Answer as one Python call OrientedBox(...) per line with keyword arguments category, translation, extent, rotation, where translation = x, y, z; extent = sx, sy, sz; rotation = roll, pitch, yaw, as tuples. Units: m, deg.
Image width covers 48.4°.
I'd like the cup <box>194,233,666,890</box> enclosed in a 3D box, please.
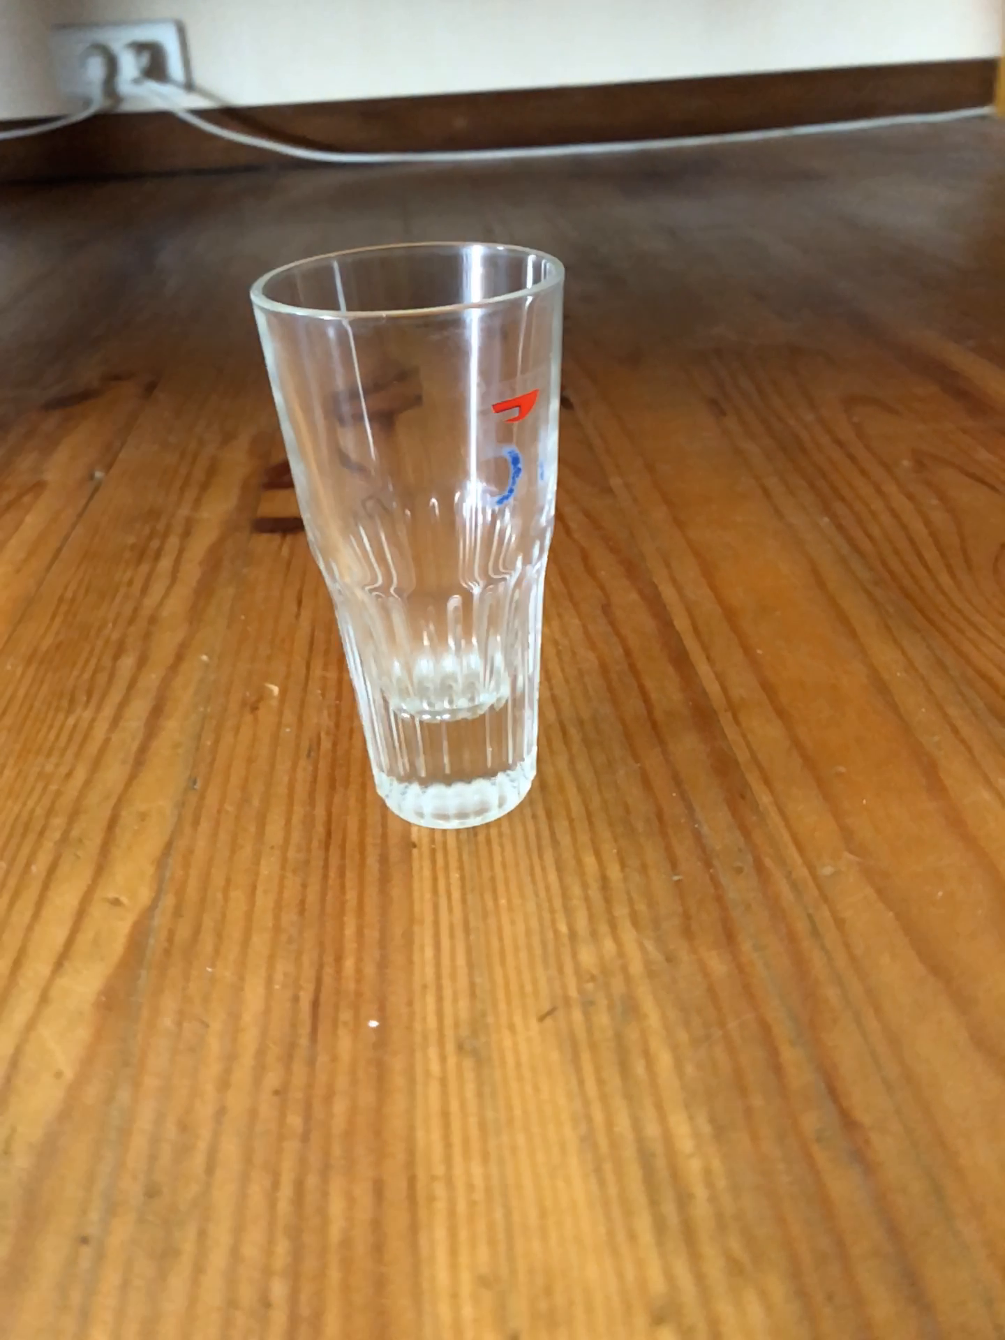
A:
OrientedBox(category="cup", translation=(-0.012, -0.027, 0.249), extent=(0.064, 0.116, 0.068), rotation=(-2, 30, 1))
